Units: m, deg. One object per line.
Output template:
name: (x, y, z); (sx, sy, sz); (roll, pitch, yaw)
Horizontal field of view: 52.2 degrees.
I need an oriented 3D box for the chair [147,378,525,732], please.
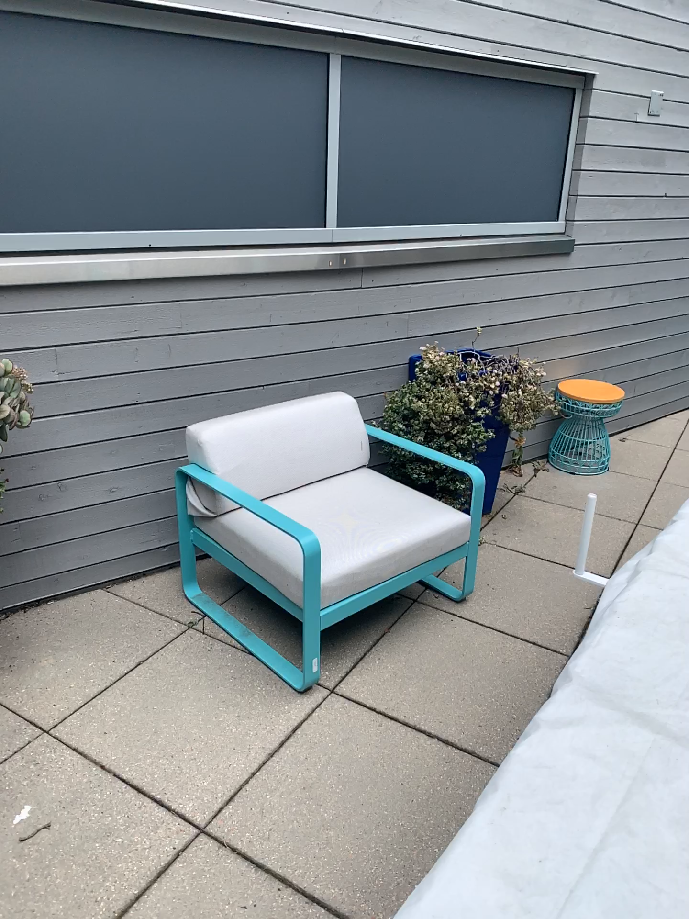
chair: (-0.046, 0.231, 2.597); (0.971, 0.736, 0.904); (-16, 28, -38)
